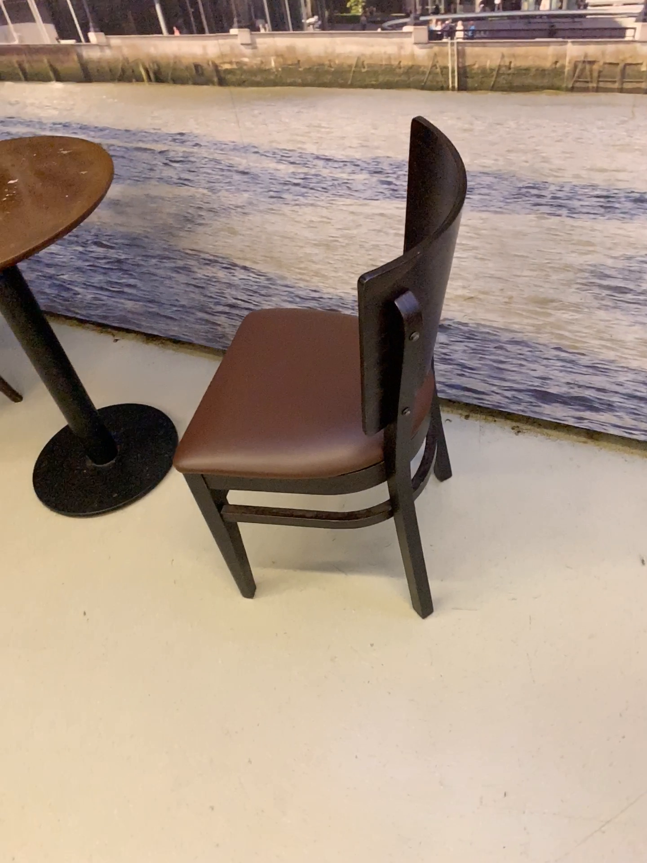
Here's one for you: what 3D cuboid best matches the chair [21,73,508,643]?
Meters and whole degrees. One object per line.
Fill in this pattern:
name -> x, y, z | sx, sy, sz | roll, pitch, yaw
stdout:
chair -> 0.017, -0.112, 1.148 | 0.517, 0.729, 0.562 | 6, 47, 18
